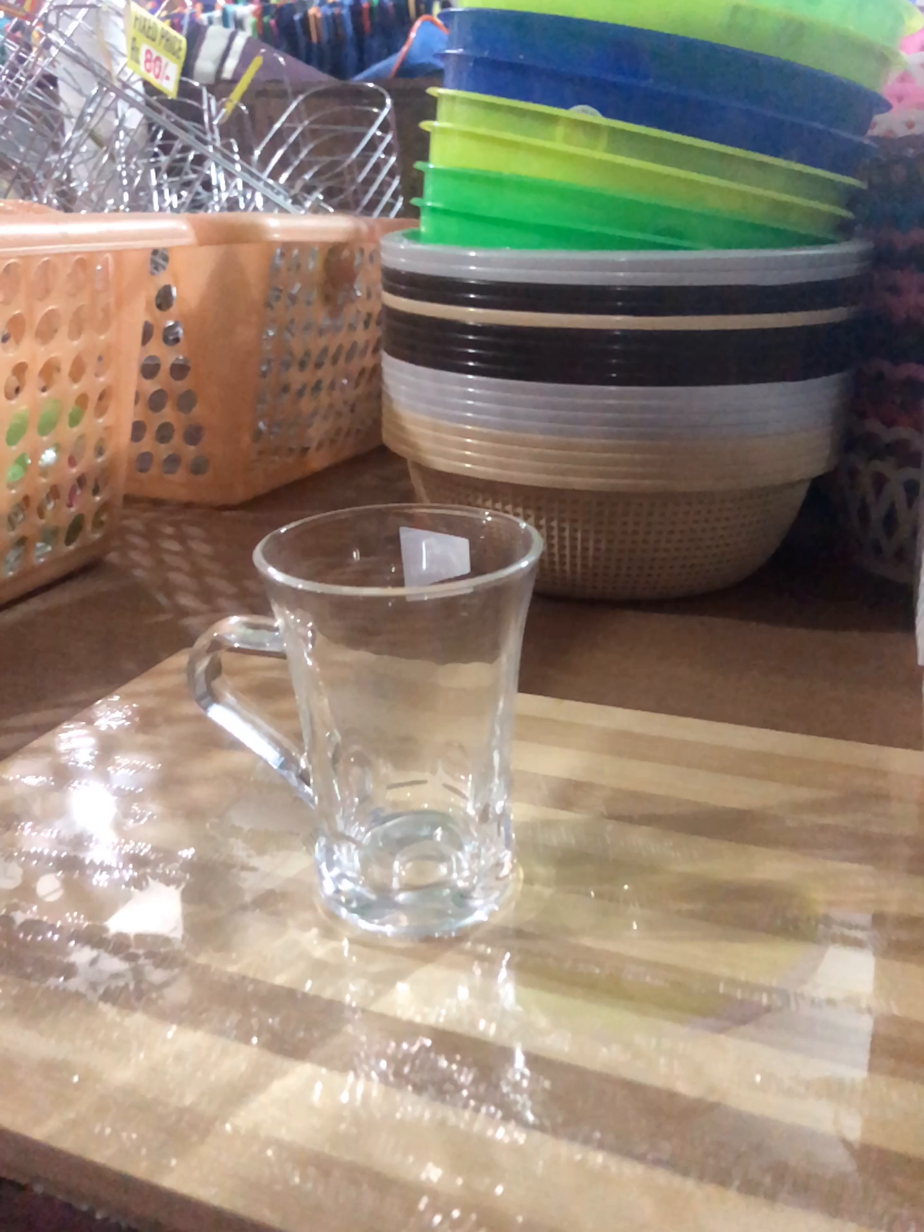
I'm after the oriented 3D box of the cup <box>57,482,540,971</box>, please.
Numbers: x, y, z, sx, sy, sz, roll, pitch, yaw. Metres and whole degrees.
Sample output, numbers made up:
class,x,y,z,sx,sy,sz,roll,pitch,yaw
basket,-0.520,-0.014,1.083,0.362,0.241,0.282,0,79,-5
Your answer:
class,x,y,z,sx,sy,sz,roll,pitch,yaw
cup,-0.031,0.021,0.243,0.090,0.090,0.060,4,22,14
